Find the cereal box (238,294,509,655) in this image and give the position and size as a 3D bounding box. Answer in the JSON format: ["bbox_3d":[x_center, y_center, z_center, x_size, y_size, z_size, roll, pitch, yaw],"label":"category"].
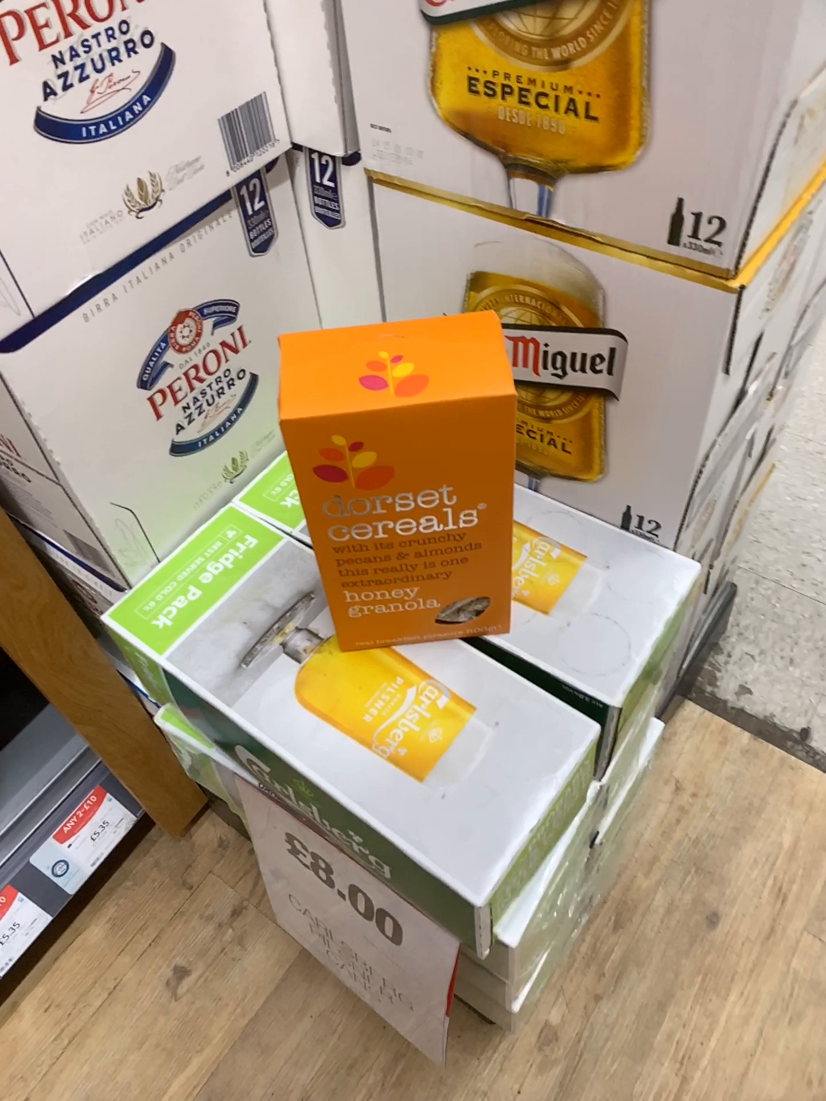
[{"bbox_3d":[-0.011,-0.031,0.471,0.120,0.198,0.071,-7,51,1],"label":"cereal box"}]
